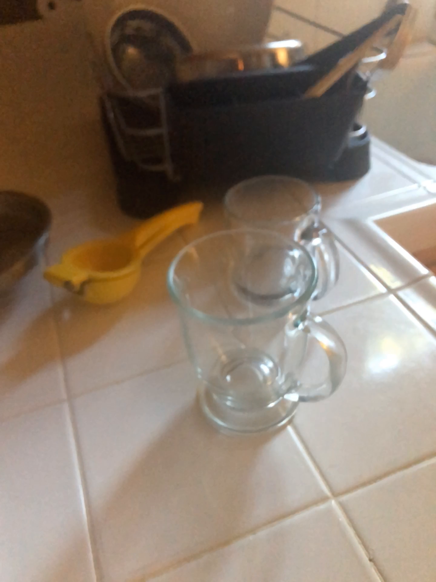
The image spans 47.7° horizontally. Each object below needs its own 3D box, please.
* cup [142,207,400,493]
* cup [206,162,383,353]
[{"bbox_3d":[0.037,0.037,0.346,0.130,0.139,0.091,19,46,27],"label":"cup"},{"bbox_3d":[0.067,-0.035,0.455,0.090,0.109,0.120,-33,47,-29],"label":"cup"}]
